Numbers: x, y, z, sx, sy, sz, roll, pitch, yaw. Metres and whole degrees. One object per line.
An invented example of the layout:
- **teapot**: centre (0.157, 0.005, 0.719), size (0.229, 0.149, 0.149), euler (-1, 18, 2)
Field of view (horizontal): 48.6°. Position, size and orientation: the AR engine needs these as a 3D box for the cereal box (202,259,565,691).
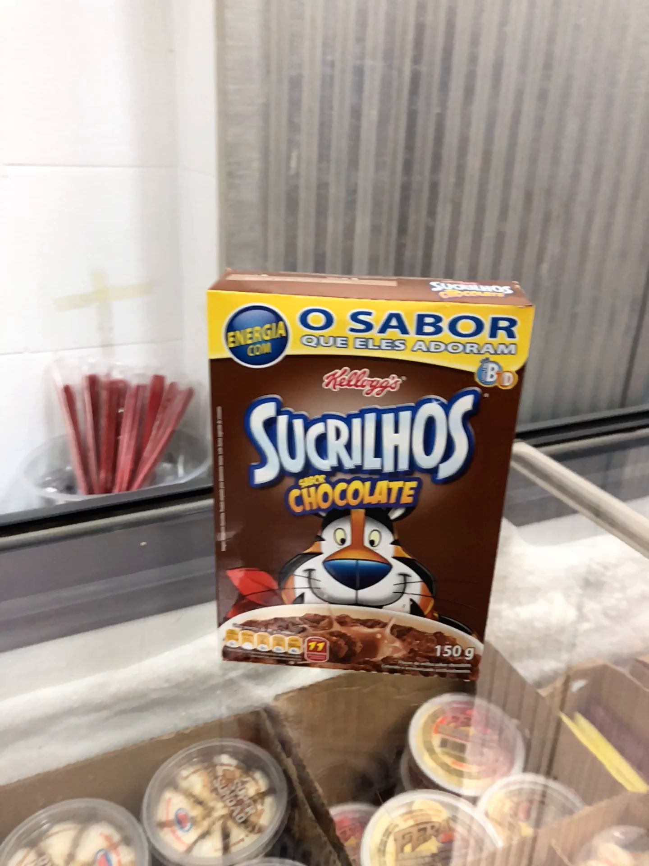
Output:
- **cereal box**: centre (0.021, 0.027, 0.363), size (0.150, 0.209, 0.050), euler (3, 24, 1)
